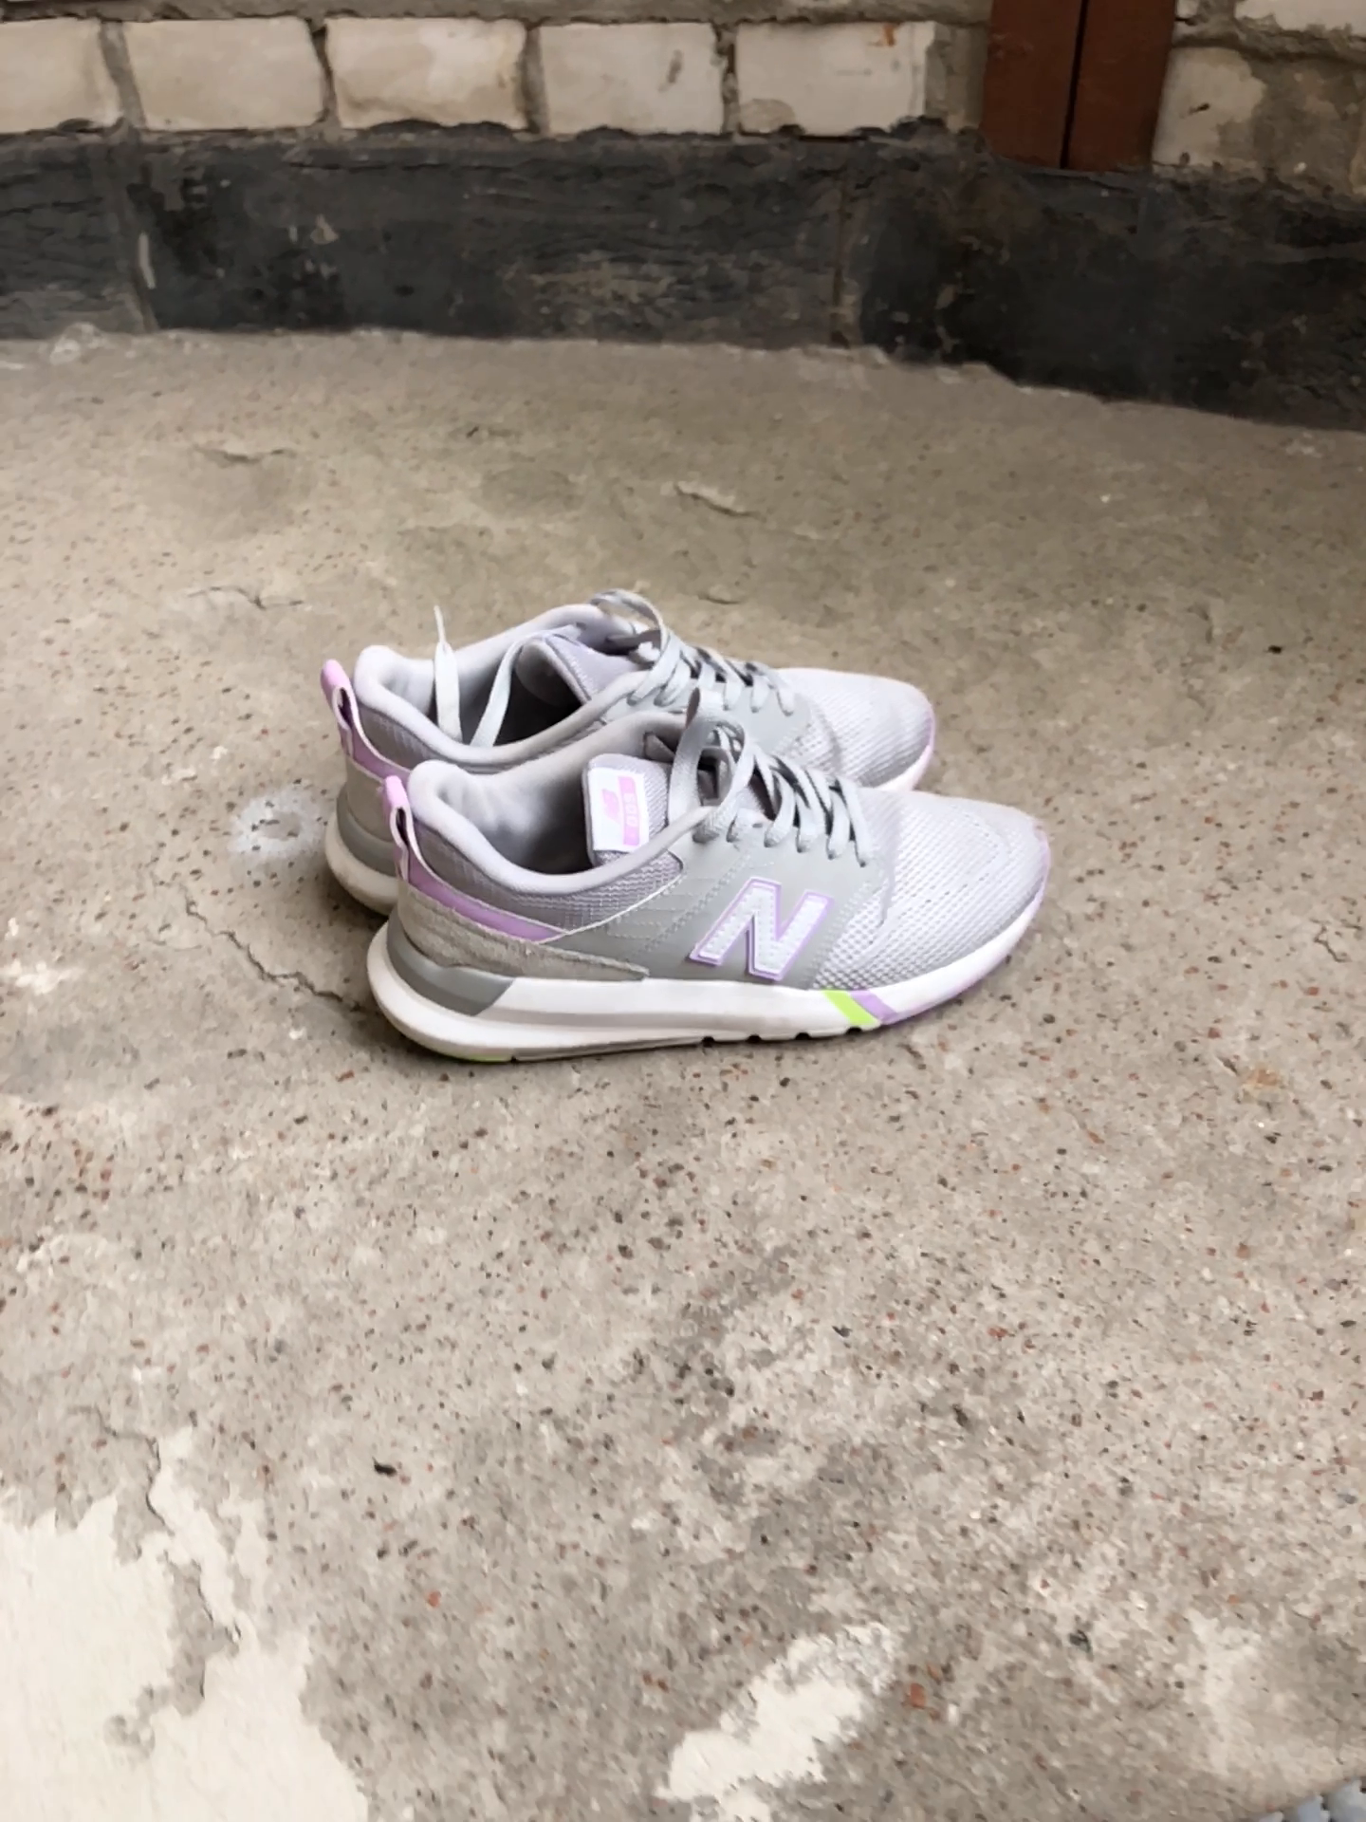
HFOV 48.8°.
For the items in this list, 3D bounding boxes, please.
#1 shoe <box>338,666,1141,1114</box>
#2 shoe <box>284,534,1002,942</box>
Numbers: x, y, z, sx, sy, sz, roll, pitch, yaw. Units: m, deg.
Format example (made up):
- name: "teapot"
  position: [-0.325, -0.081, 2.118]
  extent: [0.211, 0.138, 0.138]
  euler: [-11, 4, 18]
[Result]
- name: "shoe"
  position: [0.013, -0.013, 0.571]
  extent: [0.270, 0.099, 0.111]
  euler: [-5, 42, -11]
- name: "shoe"
  position: [-0.021, -0.079, 0.636]
  extent: [0.270, 0.099, 0.111]
  euler: [-8, 42, -14]
